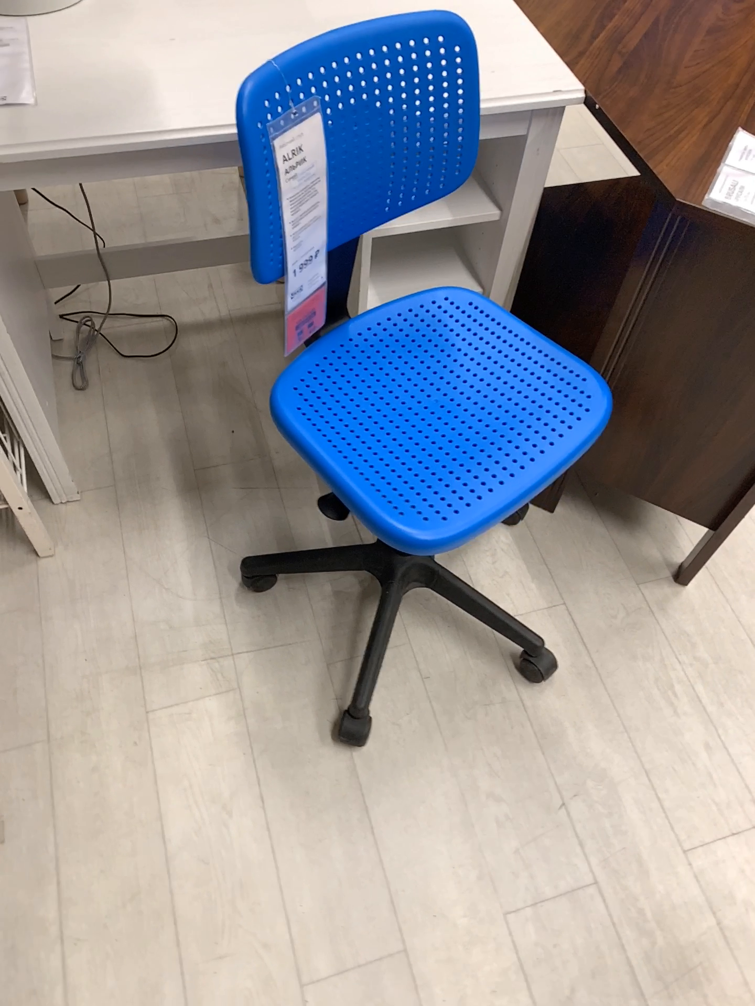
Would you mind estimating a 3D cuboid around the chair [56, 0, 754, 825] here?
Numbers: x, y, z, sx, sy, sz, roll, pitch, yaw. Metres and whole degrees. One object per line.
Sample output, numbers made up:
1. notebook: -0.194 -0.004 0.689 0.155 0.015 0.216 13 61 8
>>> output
1. chair: 0.085 -0.091 1.112 0.611 0.857 0.621 -33 64 -24
